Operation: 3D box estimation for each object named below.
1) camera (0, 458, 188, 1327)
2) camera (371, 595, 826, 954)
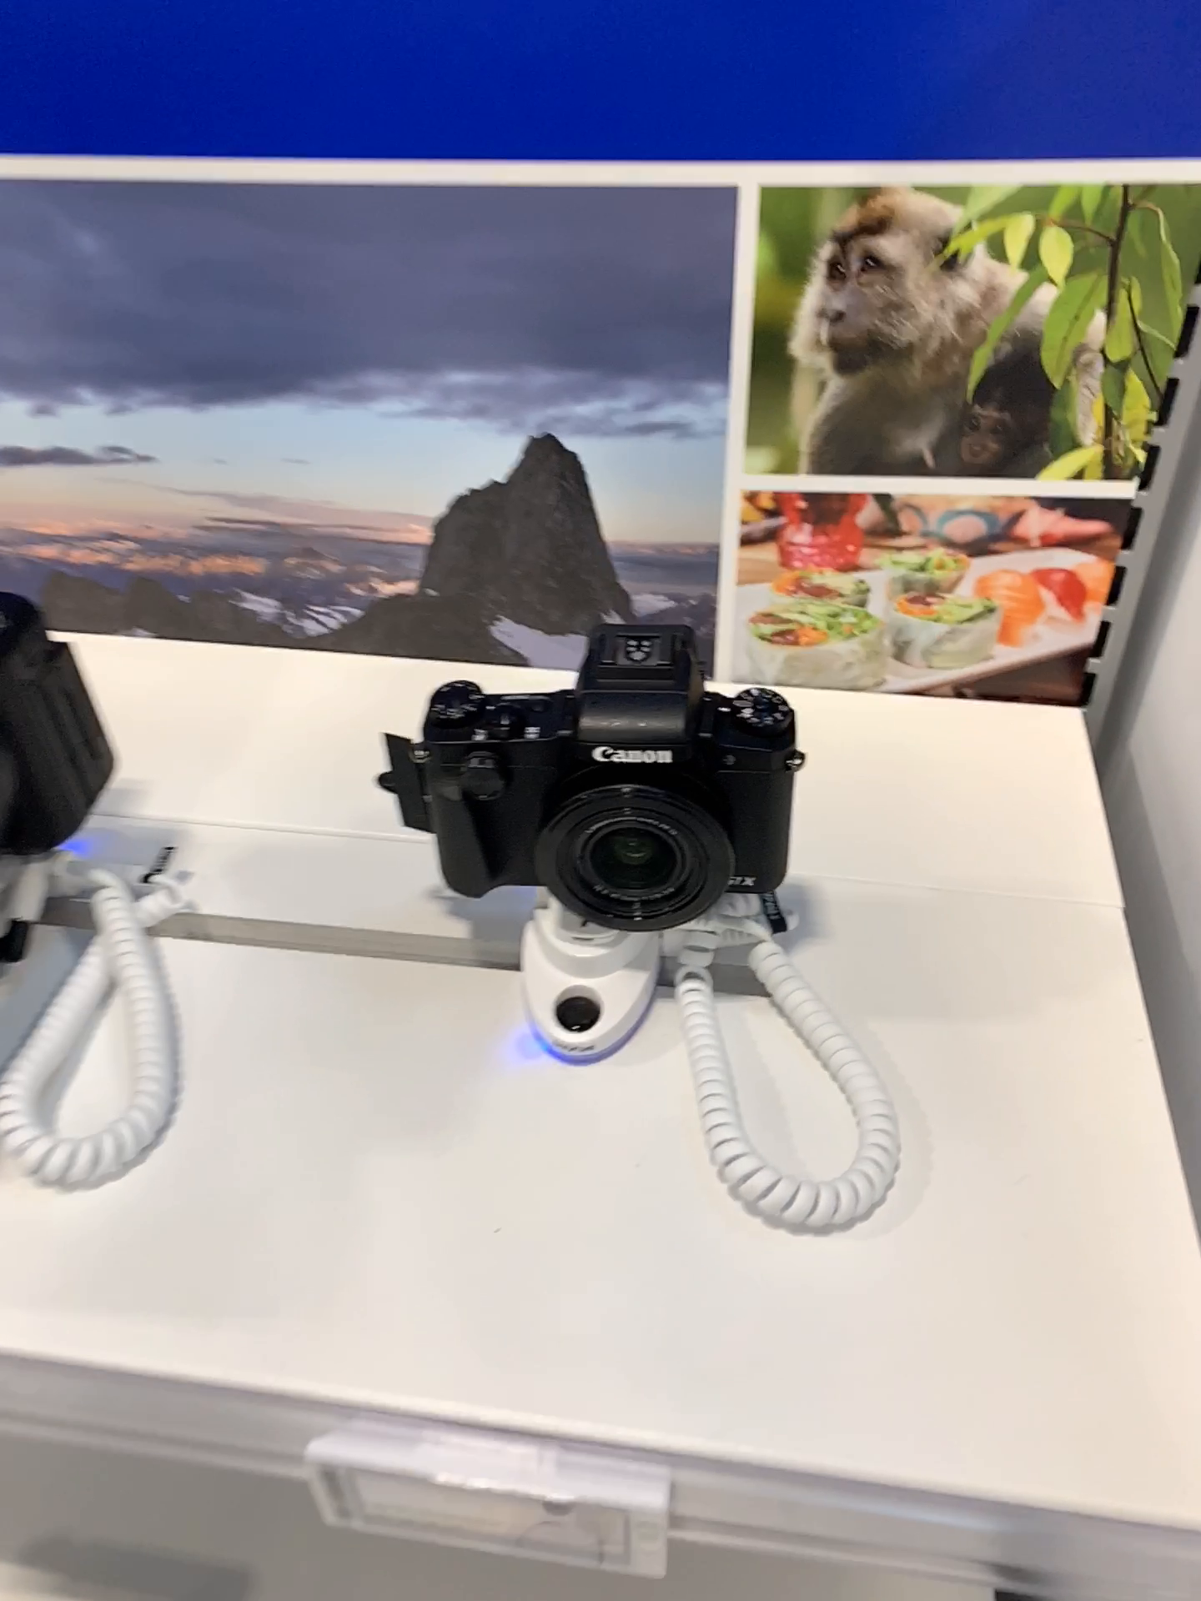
[{"bbox_3d":[-0.247,0.005,0.348,0.160,0.109,0.221,4,40,6],"label":"camera"},{"bbox_3d":[0.001,-0.008,0.378,0.120,0.089,0.060,1,40,3],"label":"camera"}]
